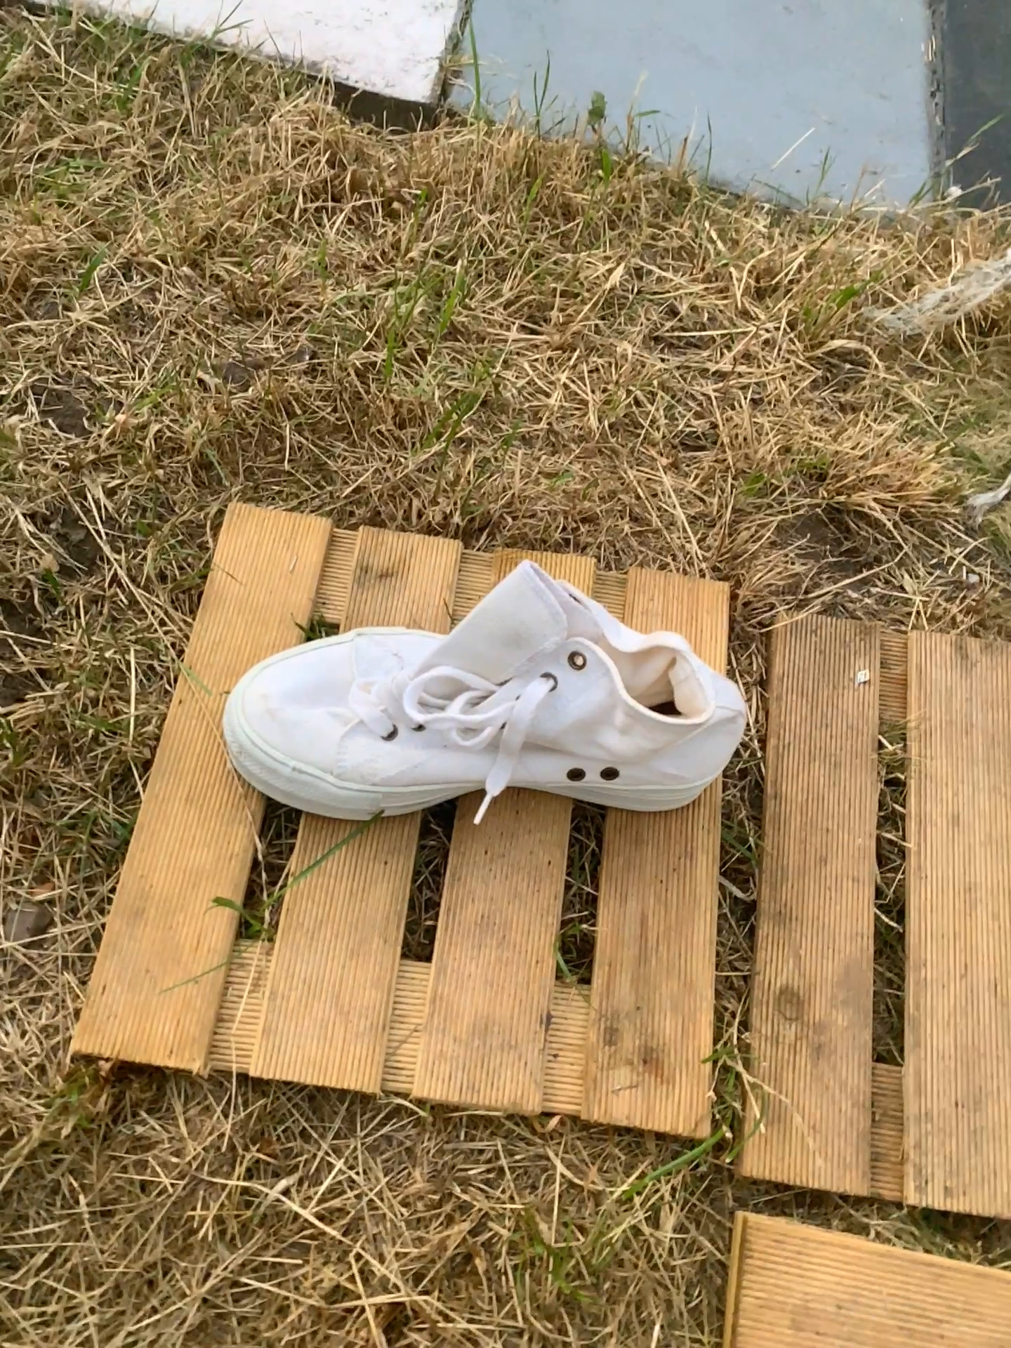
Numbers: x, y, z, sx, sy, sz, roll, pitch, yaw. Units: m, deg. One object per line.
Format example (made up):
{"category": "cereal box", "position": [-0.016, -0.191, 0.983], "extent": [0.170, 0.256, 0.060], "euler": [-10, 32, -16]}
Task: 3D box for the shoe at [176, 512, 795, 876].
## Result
{"category": "shoe", "position": [-0.008, 0.018, 0.495], "extent": [0.260, 0.109, 0.101], "euler": [10, 65, -7]}
